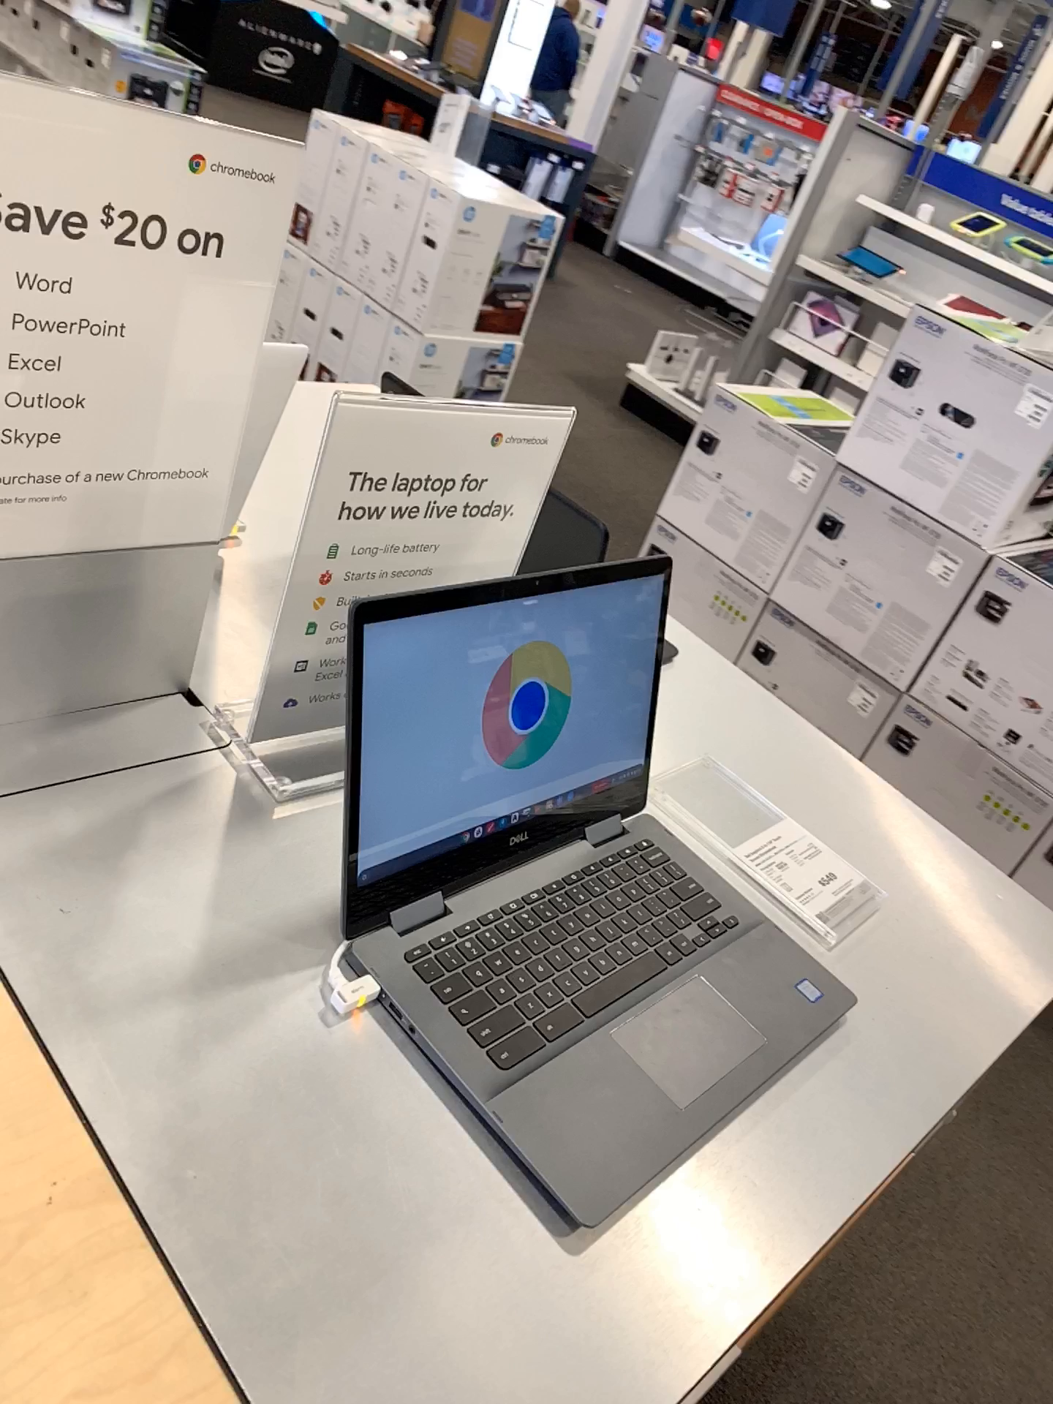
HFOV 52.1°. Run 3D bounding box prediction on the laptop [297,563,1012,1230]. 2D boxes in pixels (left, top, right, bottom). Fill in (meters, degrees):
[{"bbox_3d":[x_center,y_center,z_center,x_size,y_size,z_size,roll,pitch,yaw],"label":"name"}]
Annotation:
[{"bbox_3d":[0.081,0.087,0.709,0.310,0.202,0.293,-16,47,-46],"label":"laptop"}]
